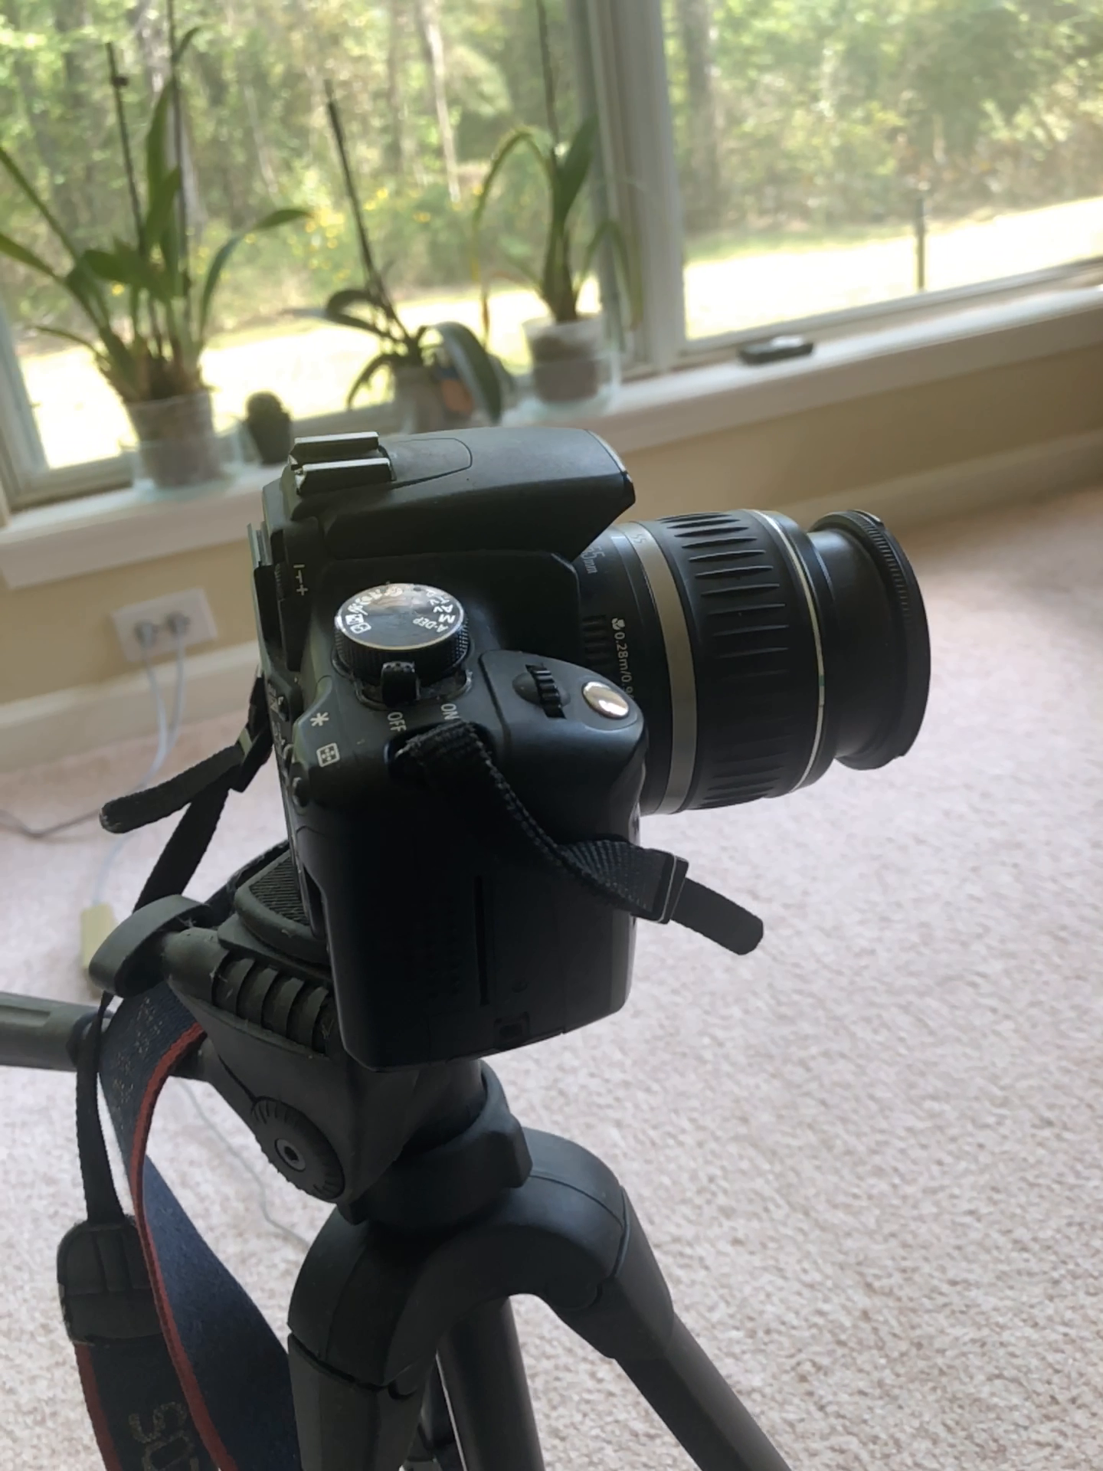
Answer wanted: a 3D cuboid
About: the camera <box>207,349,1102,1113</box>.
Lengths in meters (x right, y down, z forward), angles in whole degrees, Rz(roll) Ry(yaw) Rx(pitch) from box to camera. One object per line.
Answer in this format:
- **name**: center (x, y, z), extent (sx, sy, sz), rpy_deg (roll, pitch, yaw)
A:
- **camera**: center (0.009, -0.016, 0.267), extent (0.142, 0.093, 0.131), rpy_deg (-9, 33, -15)
